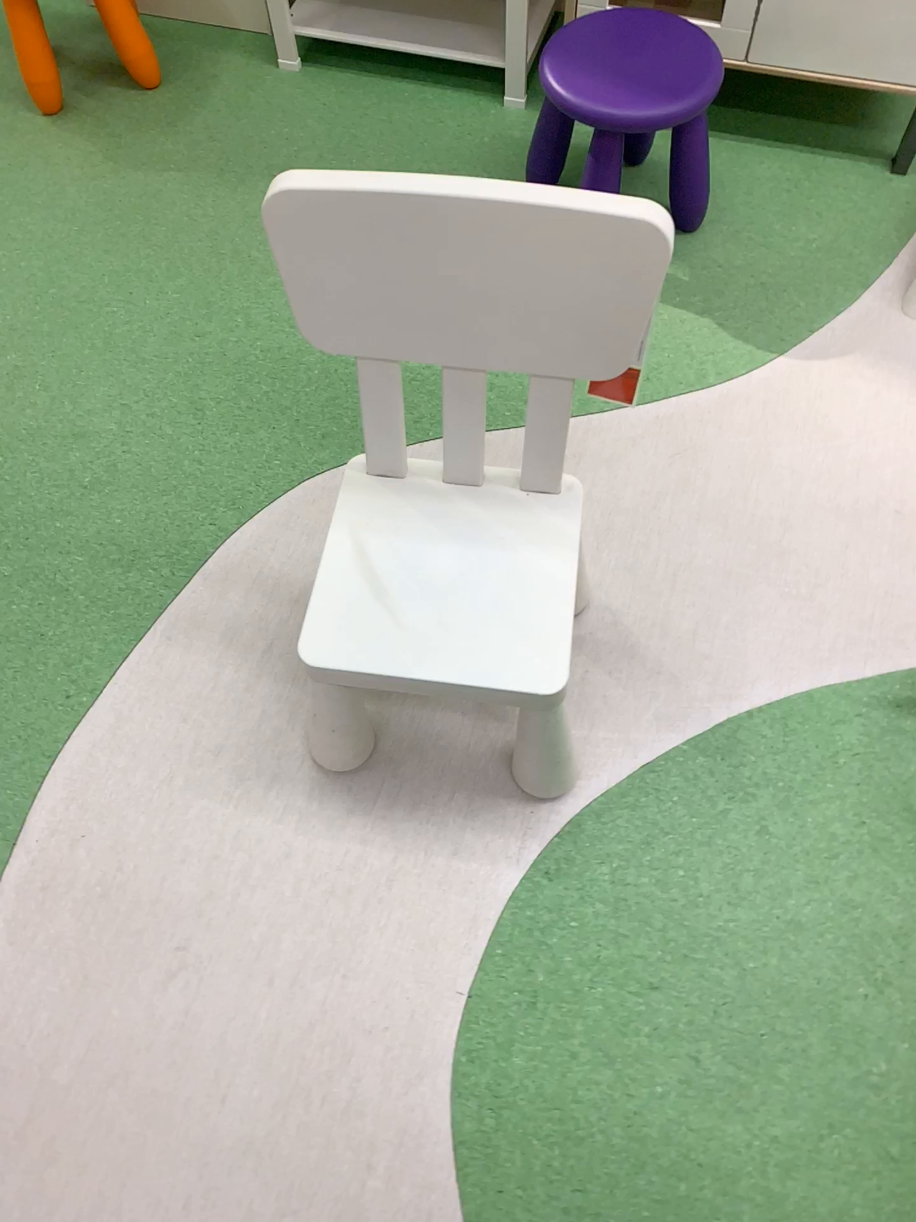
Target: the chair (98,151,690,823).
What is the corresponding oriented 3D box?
[{"bbox_3d":[-0.018,-0.087,1.041,0.420,0.599,0.441,7,63,6],"label":"chair"}]
